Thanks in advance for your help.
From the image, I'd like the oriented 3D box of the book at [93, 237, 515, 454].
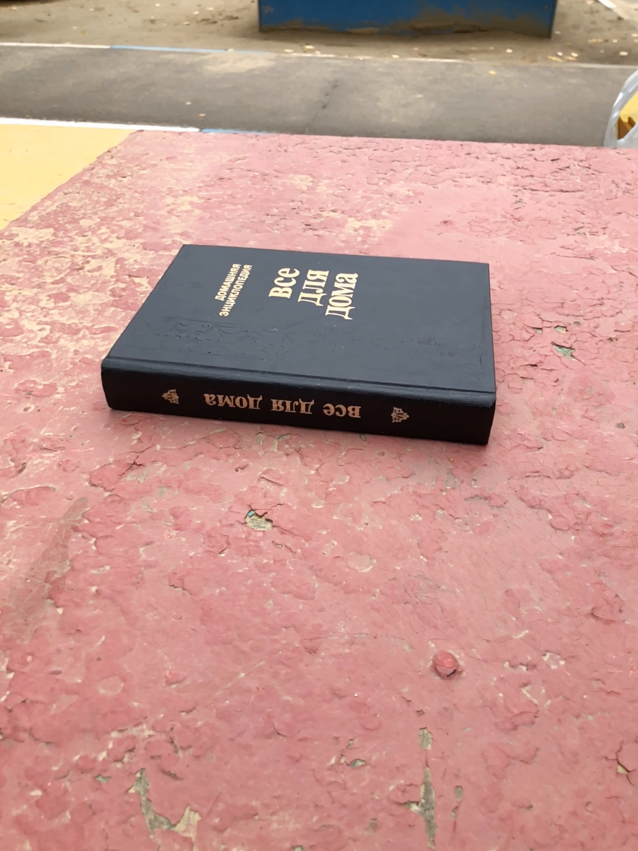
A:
[{"bbox_3d":[0.000,-0.056,0.418,0.210,0.040,0.150,5,38,7],"label":"book"}]
